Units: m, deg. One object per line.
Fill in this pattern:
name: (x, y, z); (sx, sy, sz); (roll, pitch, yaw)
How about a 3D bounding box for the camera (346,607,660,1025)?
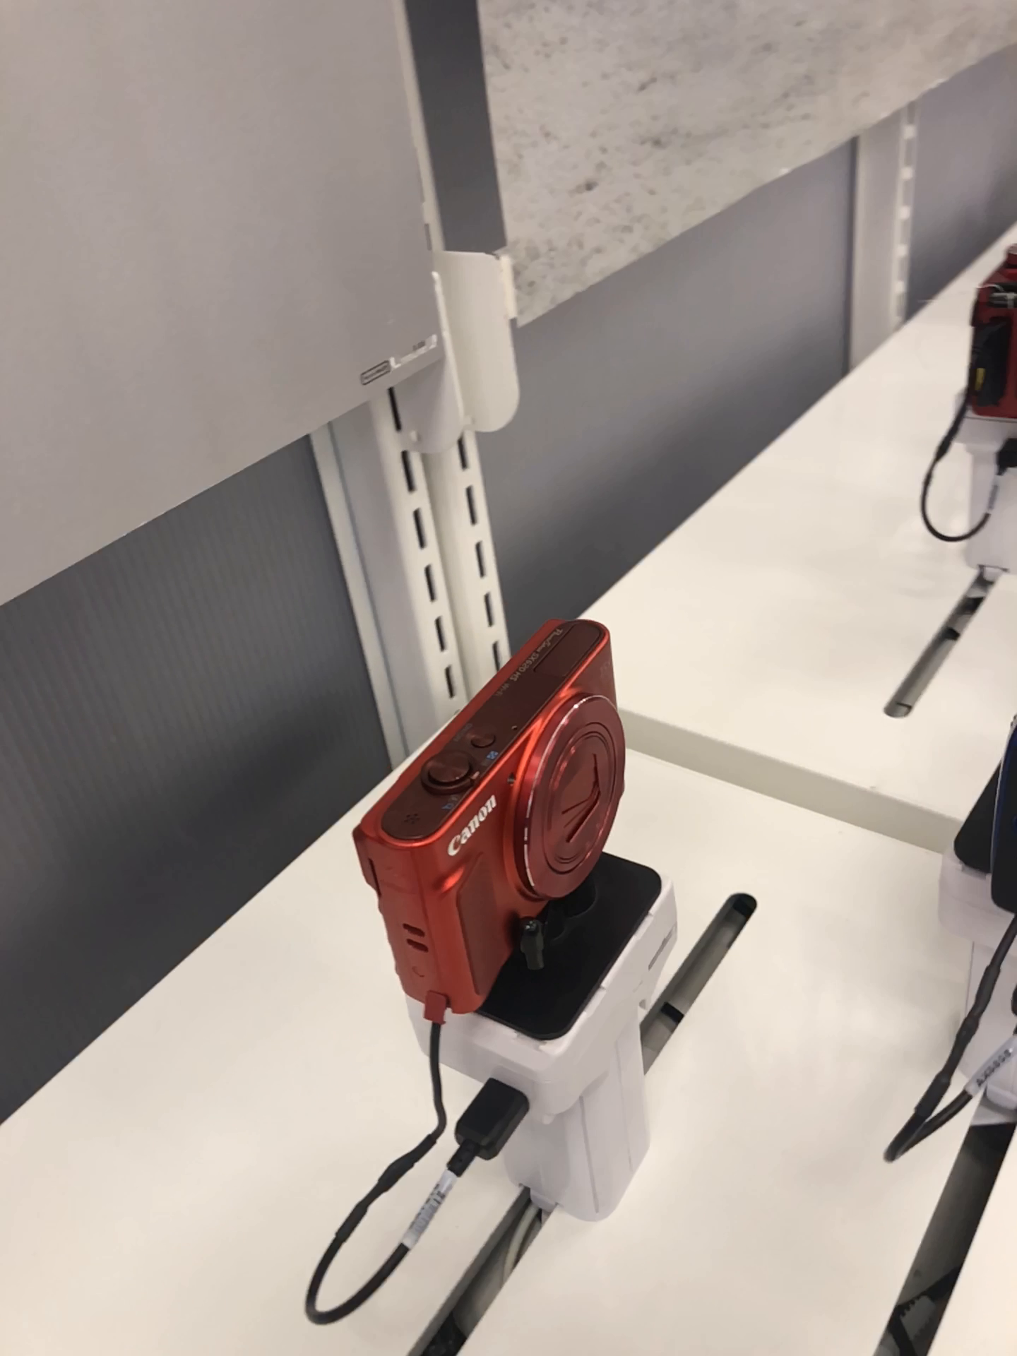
camera: (0.004, 0.031, 0.287); (0.028, 0.052, 0.096); (13, 40, 29)
